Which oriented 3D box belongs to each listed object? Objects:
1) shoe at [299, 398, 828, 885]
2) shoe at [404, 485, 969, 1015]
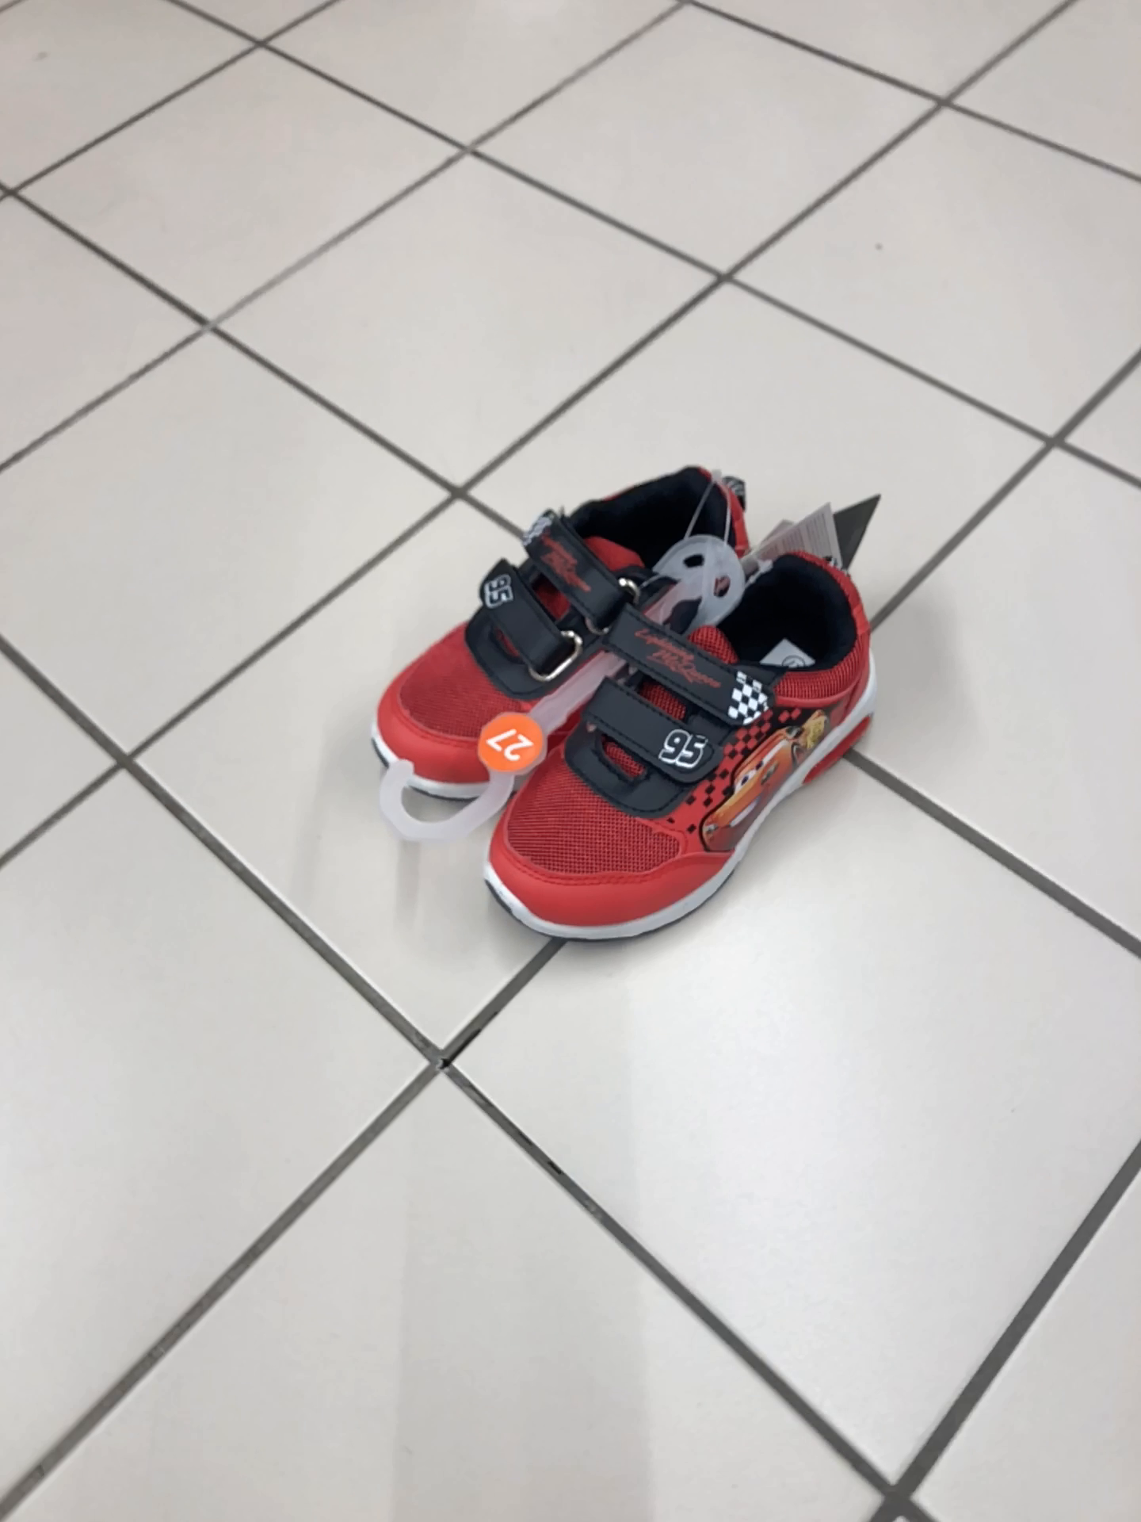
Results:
[{"bbox_3d":[0.002,-0.052,0.521,0.195,0.073,0.088,-36,61,-16],"label":"shoe"},{"bbox_3d":[0.047,-0.008,0.487,0.195,0.074,0.088,-36,61,-16],"label":"shoe"}]
